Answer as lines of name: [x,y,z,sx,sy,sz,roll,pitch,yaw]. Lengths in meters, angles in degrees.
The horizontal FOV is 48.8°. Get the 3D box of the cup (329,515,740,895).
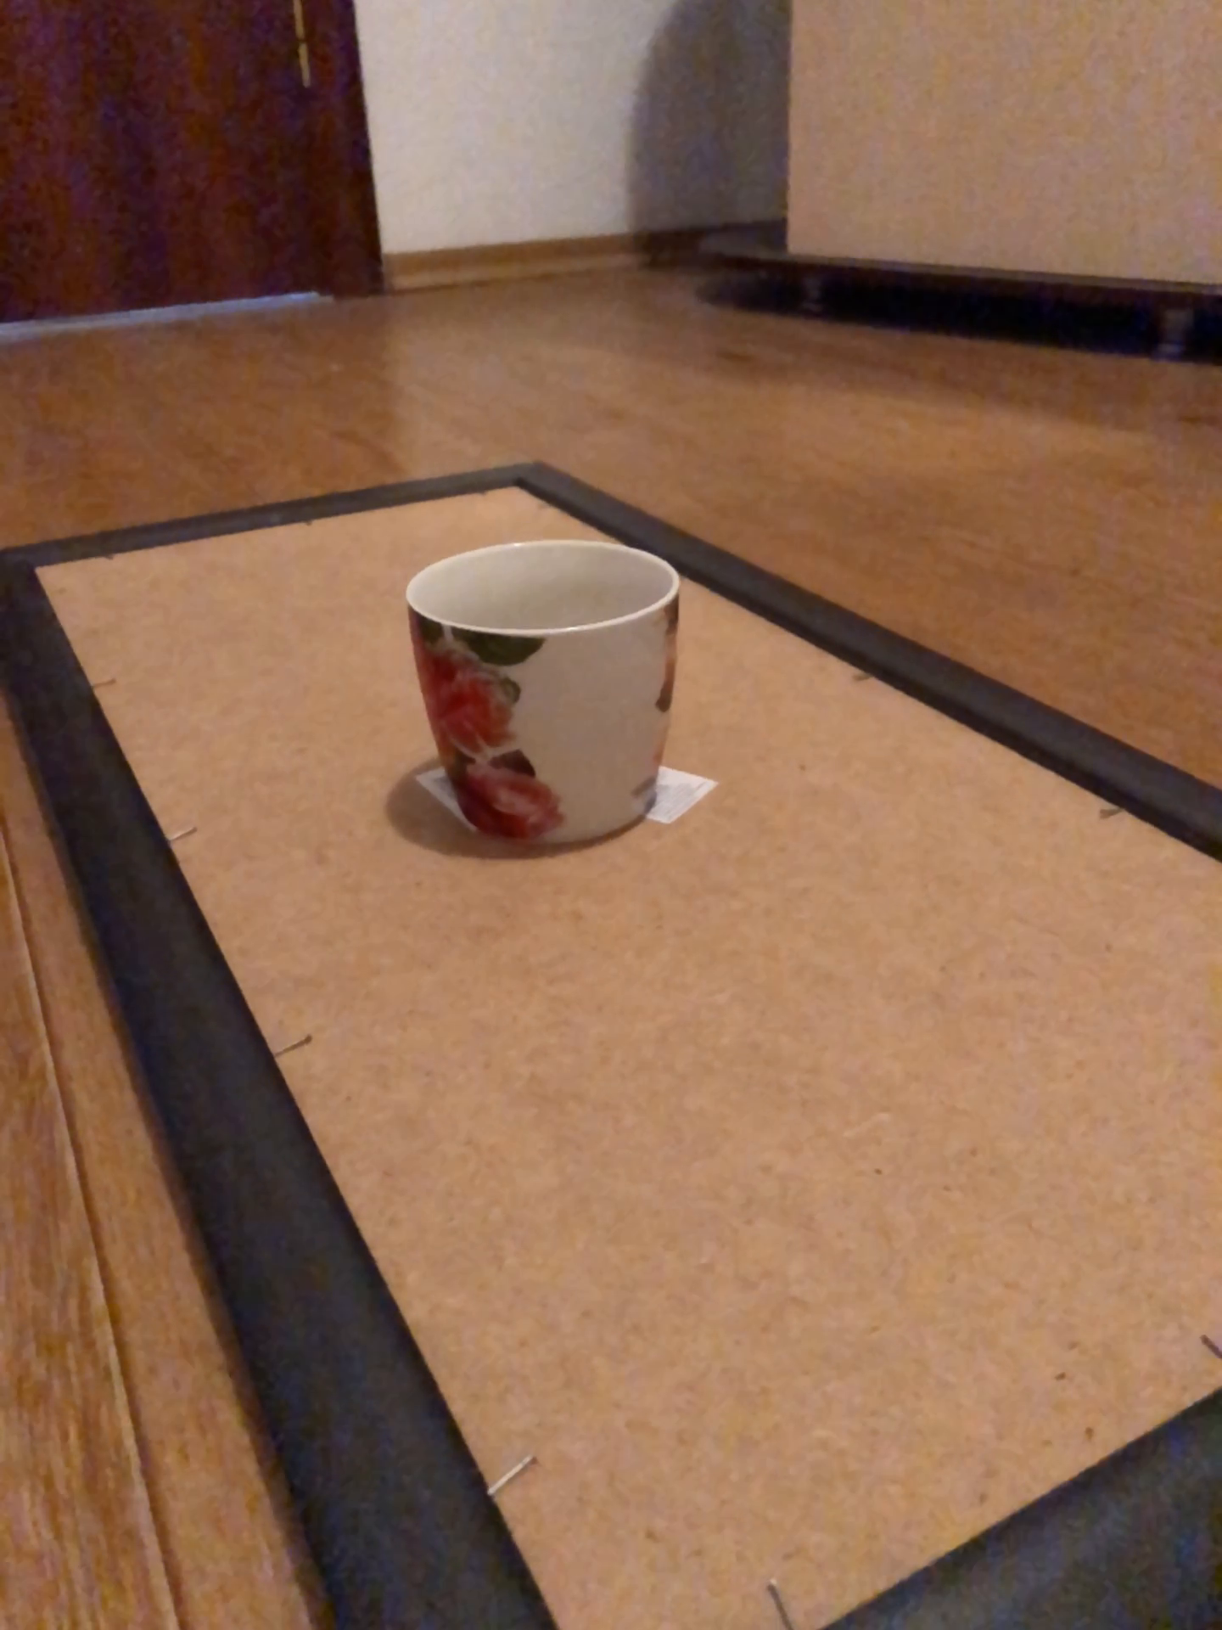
cup: [-0.029,-0.046,0.482,0.098,0.079,0.122,-16,31,-25]
